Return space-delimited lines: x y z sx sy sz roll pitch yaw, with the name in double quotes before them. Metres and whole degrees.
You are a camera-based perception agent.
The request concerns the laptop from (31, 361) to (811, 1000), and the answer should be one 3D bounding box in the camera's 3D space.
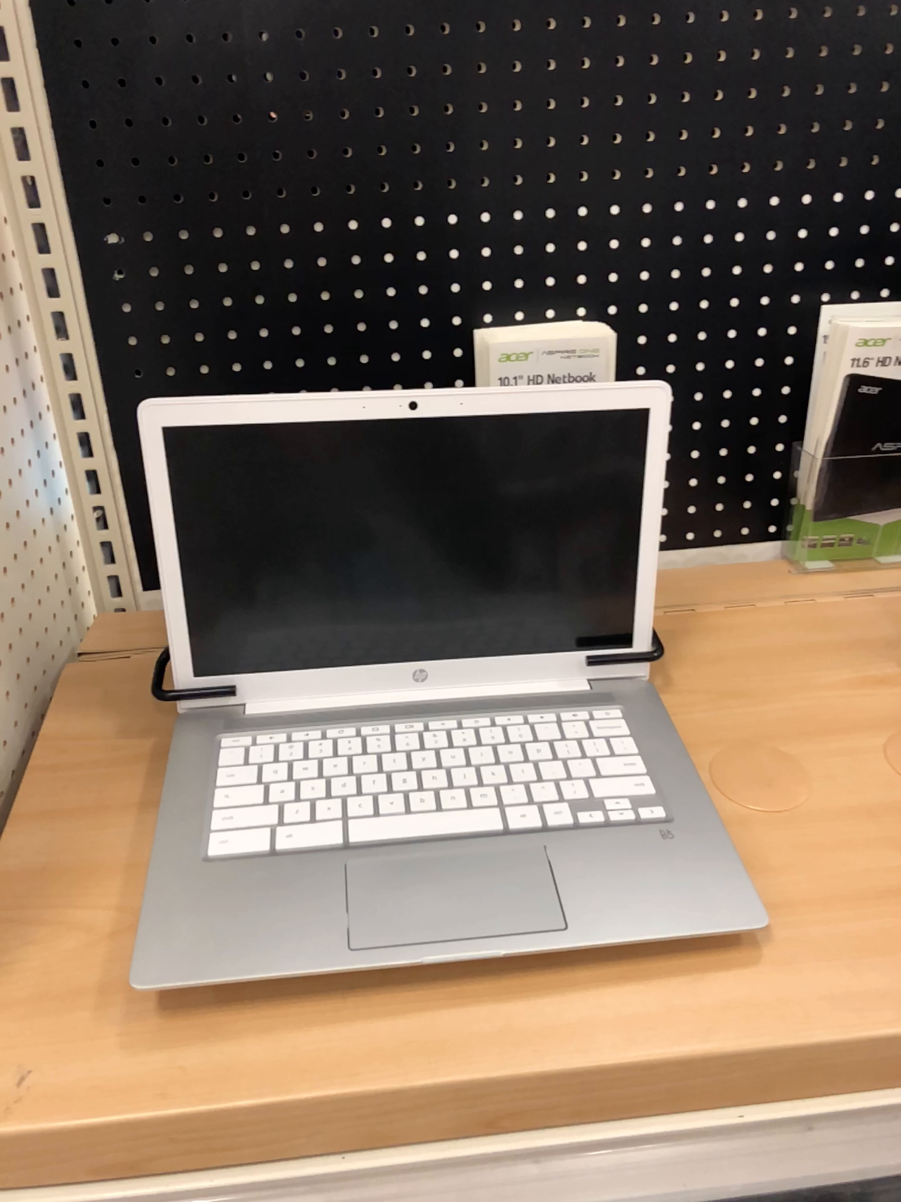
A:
"laptop" -0.017 0.015 0.577 0.333 0.198 0.281 -4 30 -7
